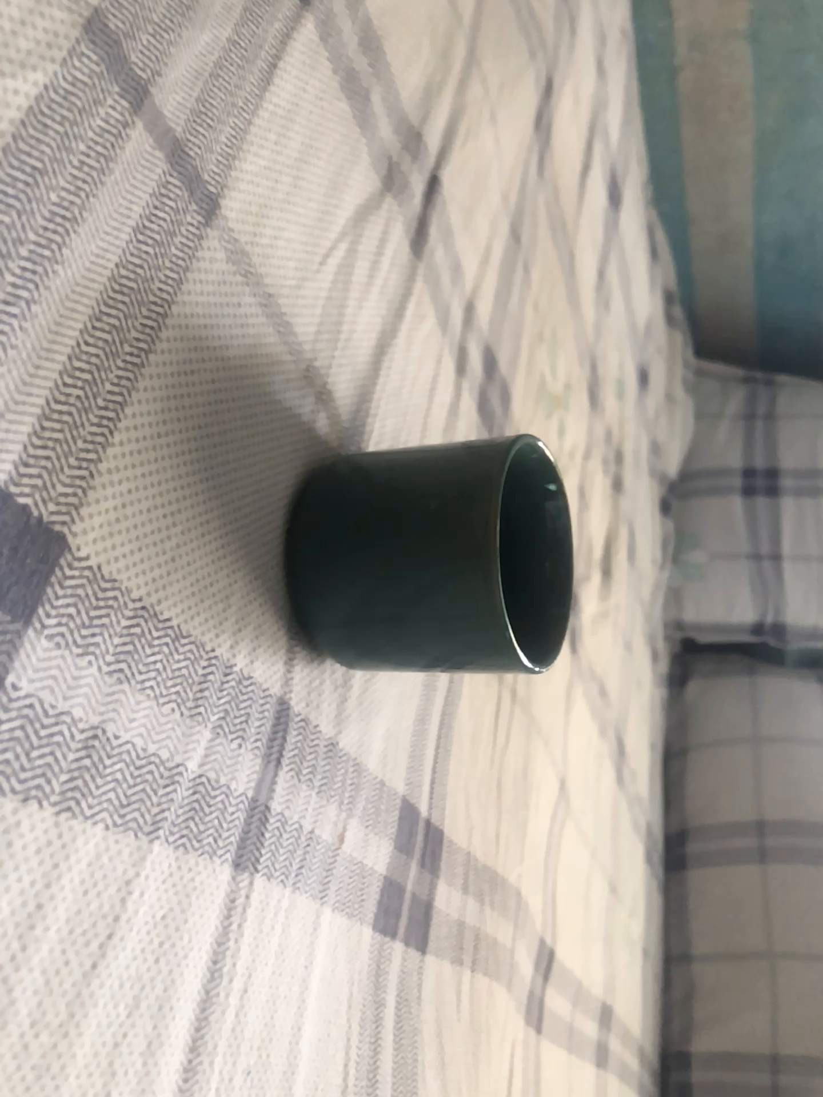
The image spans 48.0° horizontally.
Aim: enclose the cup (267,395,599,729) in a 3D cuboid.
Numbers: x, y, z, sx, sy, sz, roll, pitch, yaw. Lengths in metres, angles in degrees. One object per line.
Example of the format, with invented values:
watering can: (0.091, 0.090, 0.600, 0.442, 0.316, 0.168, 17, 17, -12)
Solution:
cup: (0.012, -0.001, 0.250, 0.080, 0.060, 0.070, -33, 119, -66)
